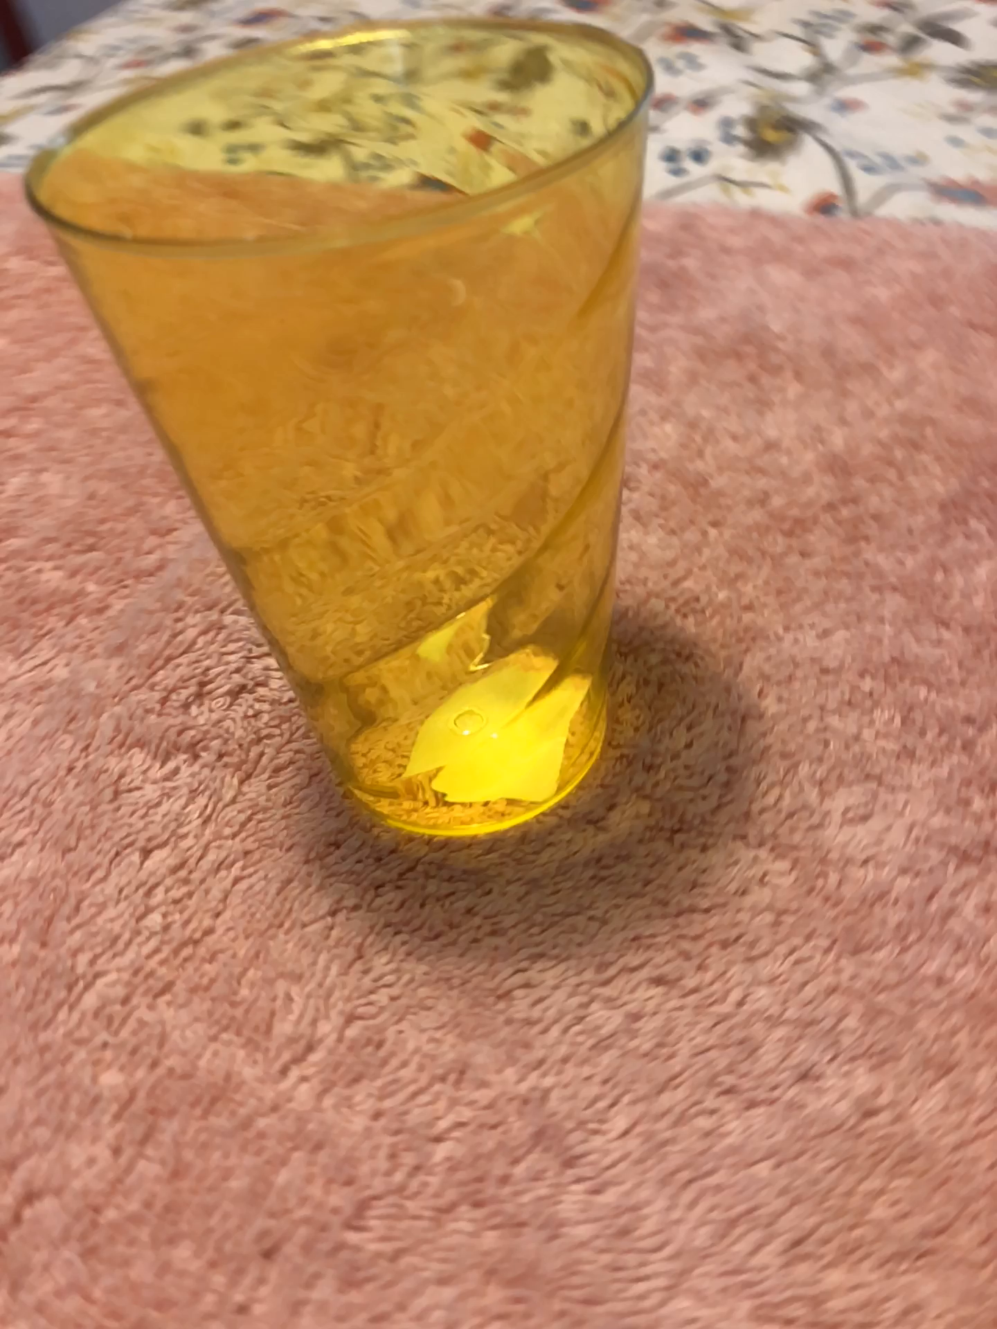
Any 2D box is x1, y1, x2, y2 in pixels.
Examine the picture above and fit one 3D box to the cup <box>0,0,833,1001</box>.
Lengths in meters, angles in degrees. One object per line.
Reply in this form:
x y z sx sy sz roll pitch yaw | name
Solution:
-0.007 -0.027 0.178 0.080 0.119 0.080 -6 46 6 | cup
